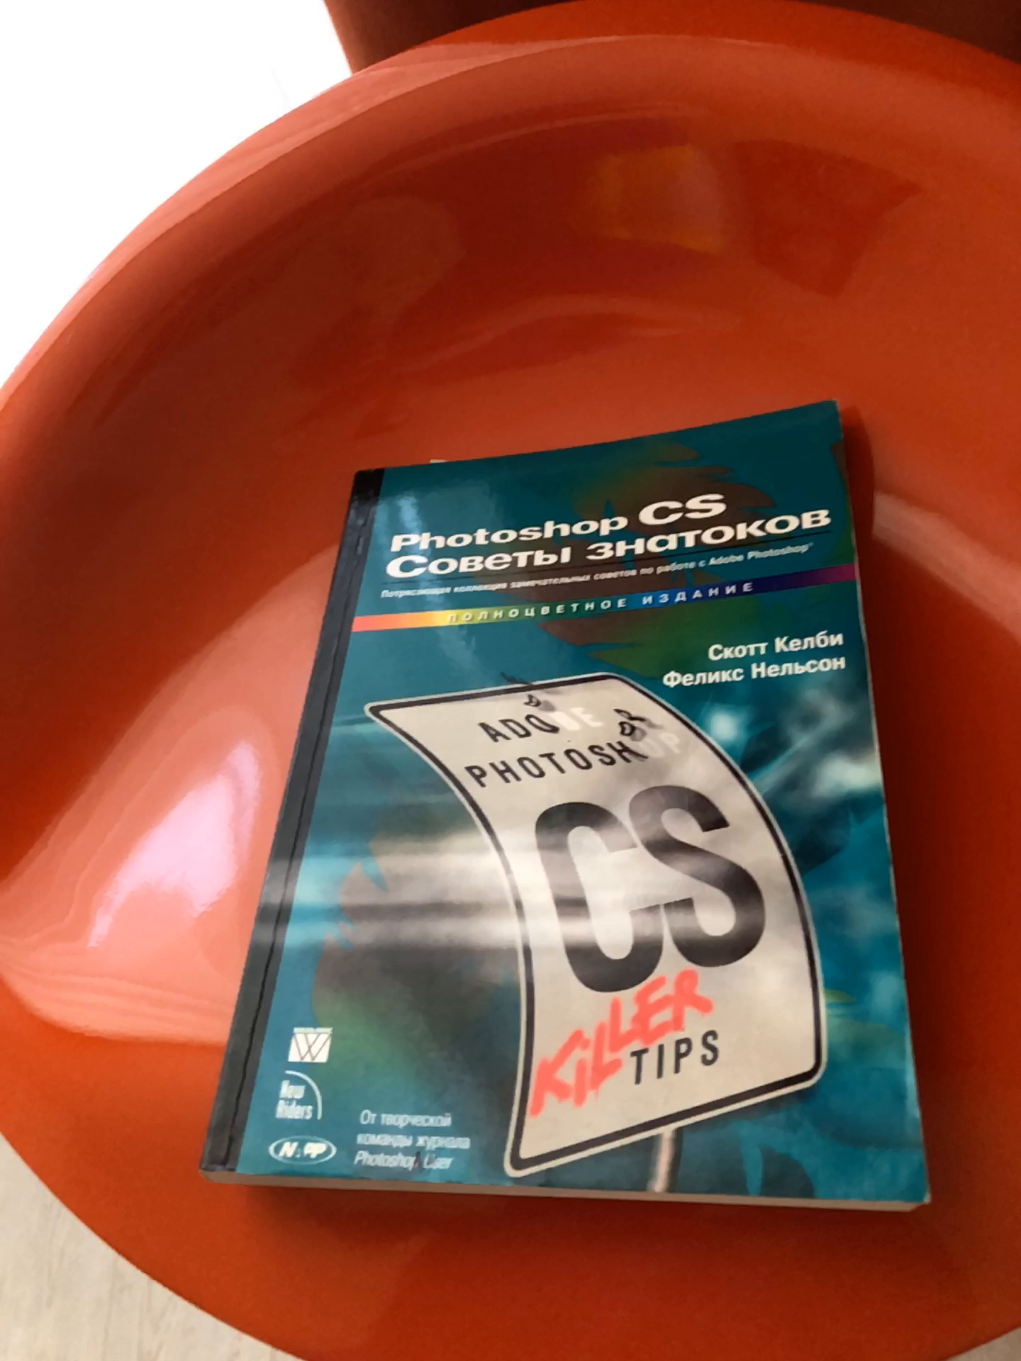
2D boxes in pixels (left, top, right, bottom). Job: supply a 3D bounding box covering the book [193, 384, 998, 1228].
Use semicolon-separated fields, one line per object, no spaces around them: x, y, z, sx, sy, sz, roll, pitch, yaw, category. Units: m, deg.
0.023;0.019;0.319;0.174;0.030;0.237;-5;53;15;book
